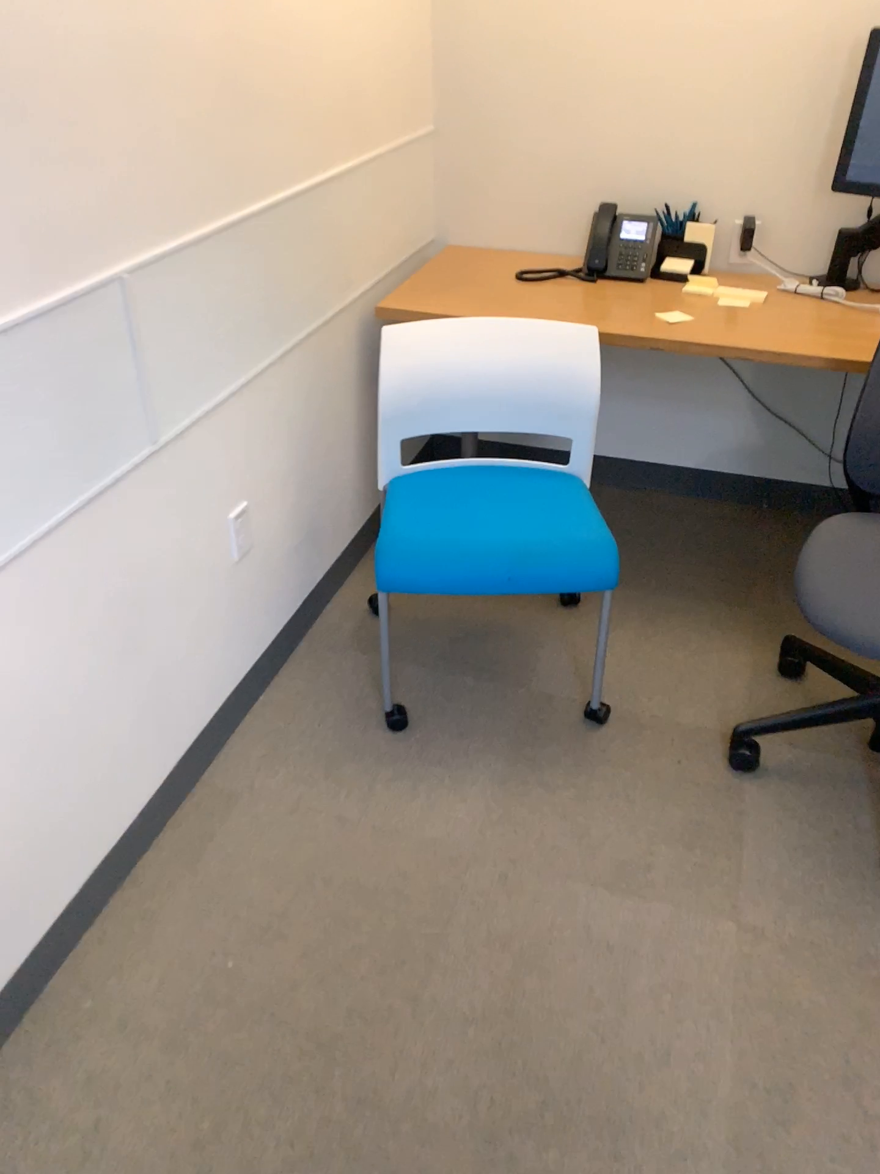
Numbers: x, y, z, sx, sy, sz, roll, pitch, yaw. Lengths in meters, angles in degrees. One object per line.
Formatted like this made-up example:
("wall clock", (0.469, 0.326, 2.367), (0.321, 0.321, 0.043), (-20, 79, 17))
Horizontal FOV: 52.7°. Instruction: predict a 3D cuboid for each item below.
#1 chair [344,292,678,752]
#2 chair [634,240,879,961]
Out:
("chair", (0.107, -0.175, 1.929), (0.530, 0.686, 0.795), (0, 34, -1))
("chair", (0.981, -0.078, 1.769), (0.751, 0.885, 0.974), (20, 39, 26))
